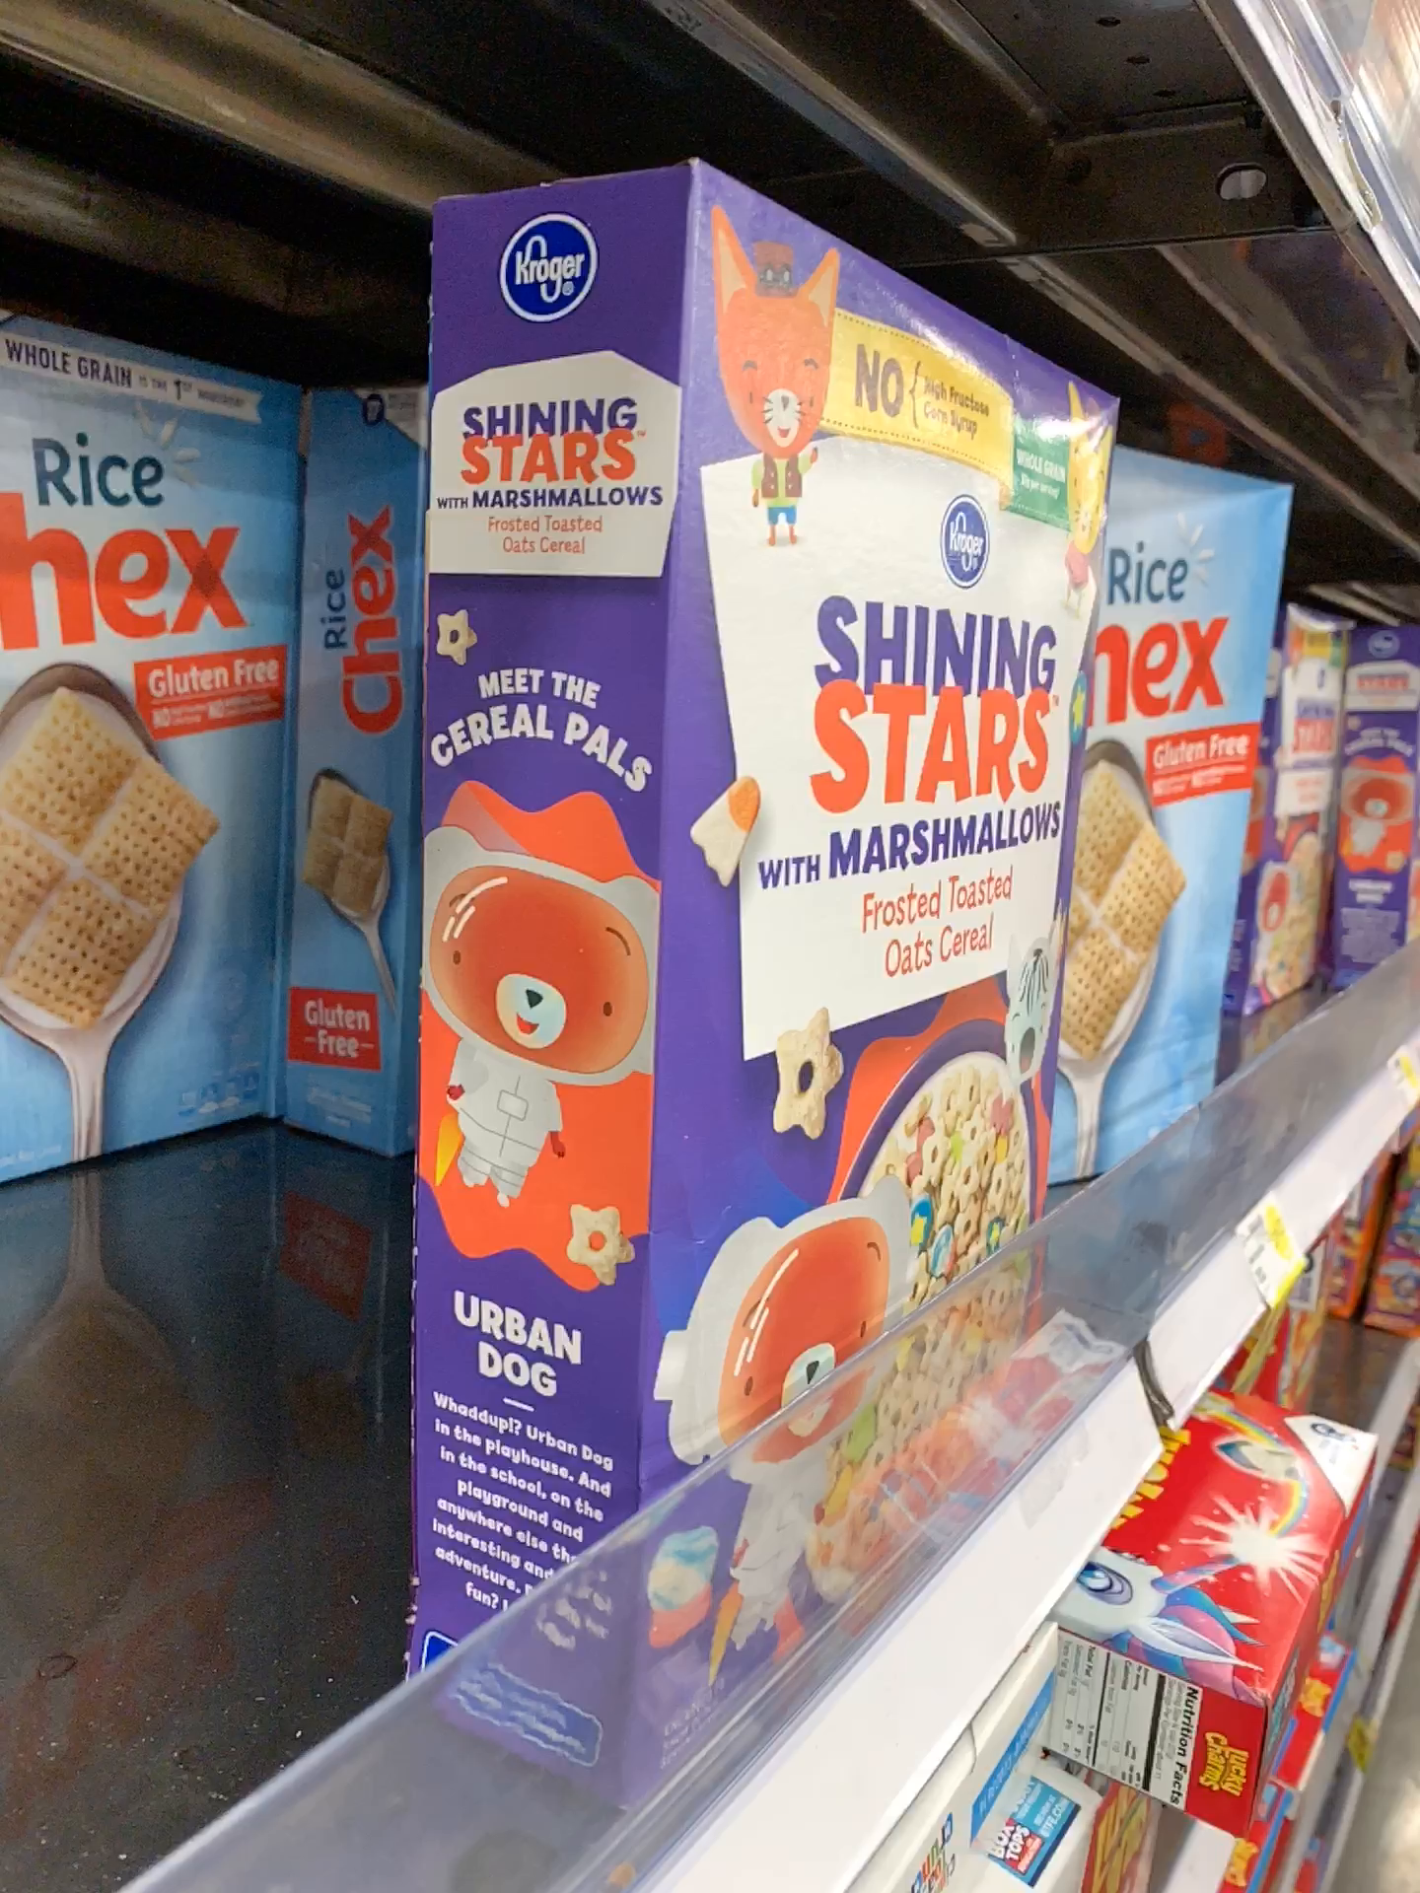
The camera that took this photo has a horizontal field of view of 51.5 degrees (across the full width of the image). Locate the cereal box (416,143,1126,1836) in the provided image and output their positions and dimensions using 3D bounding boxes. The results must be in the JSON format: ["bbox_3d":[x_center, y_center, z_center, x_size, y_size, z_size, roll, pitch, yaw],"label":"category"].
[{"bbox_3d":[0.025,0.003,0.326,0.050,0.269,0.200,9,12,31],"label":"cereal box"}]
